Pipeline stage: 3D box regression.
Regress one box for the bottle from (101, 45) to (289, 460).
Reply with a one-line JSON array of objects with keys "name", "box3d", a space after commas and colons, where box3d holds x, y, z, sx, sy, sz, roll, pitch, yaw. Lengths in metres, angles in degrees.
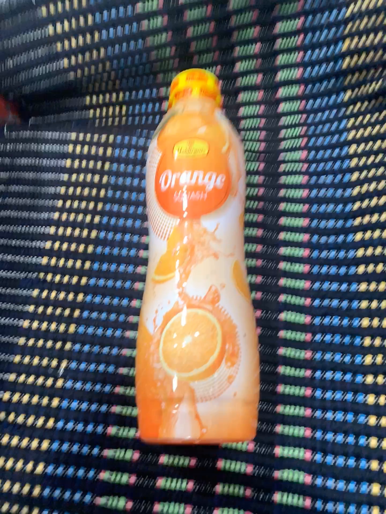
[{"name": "bottle", "box3d": [0.004, -0.016, 0.247, 0.080, 0.060, 0.251, -2, 65, 5]}]
